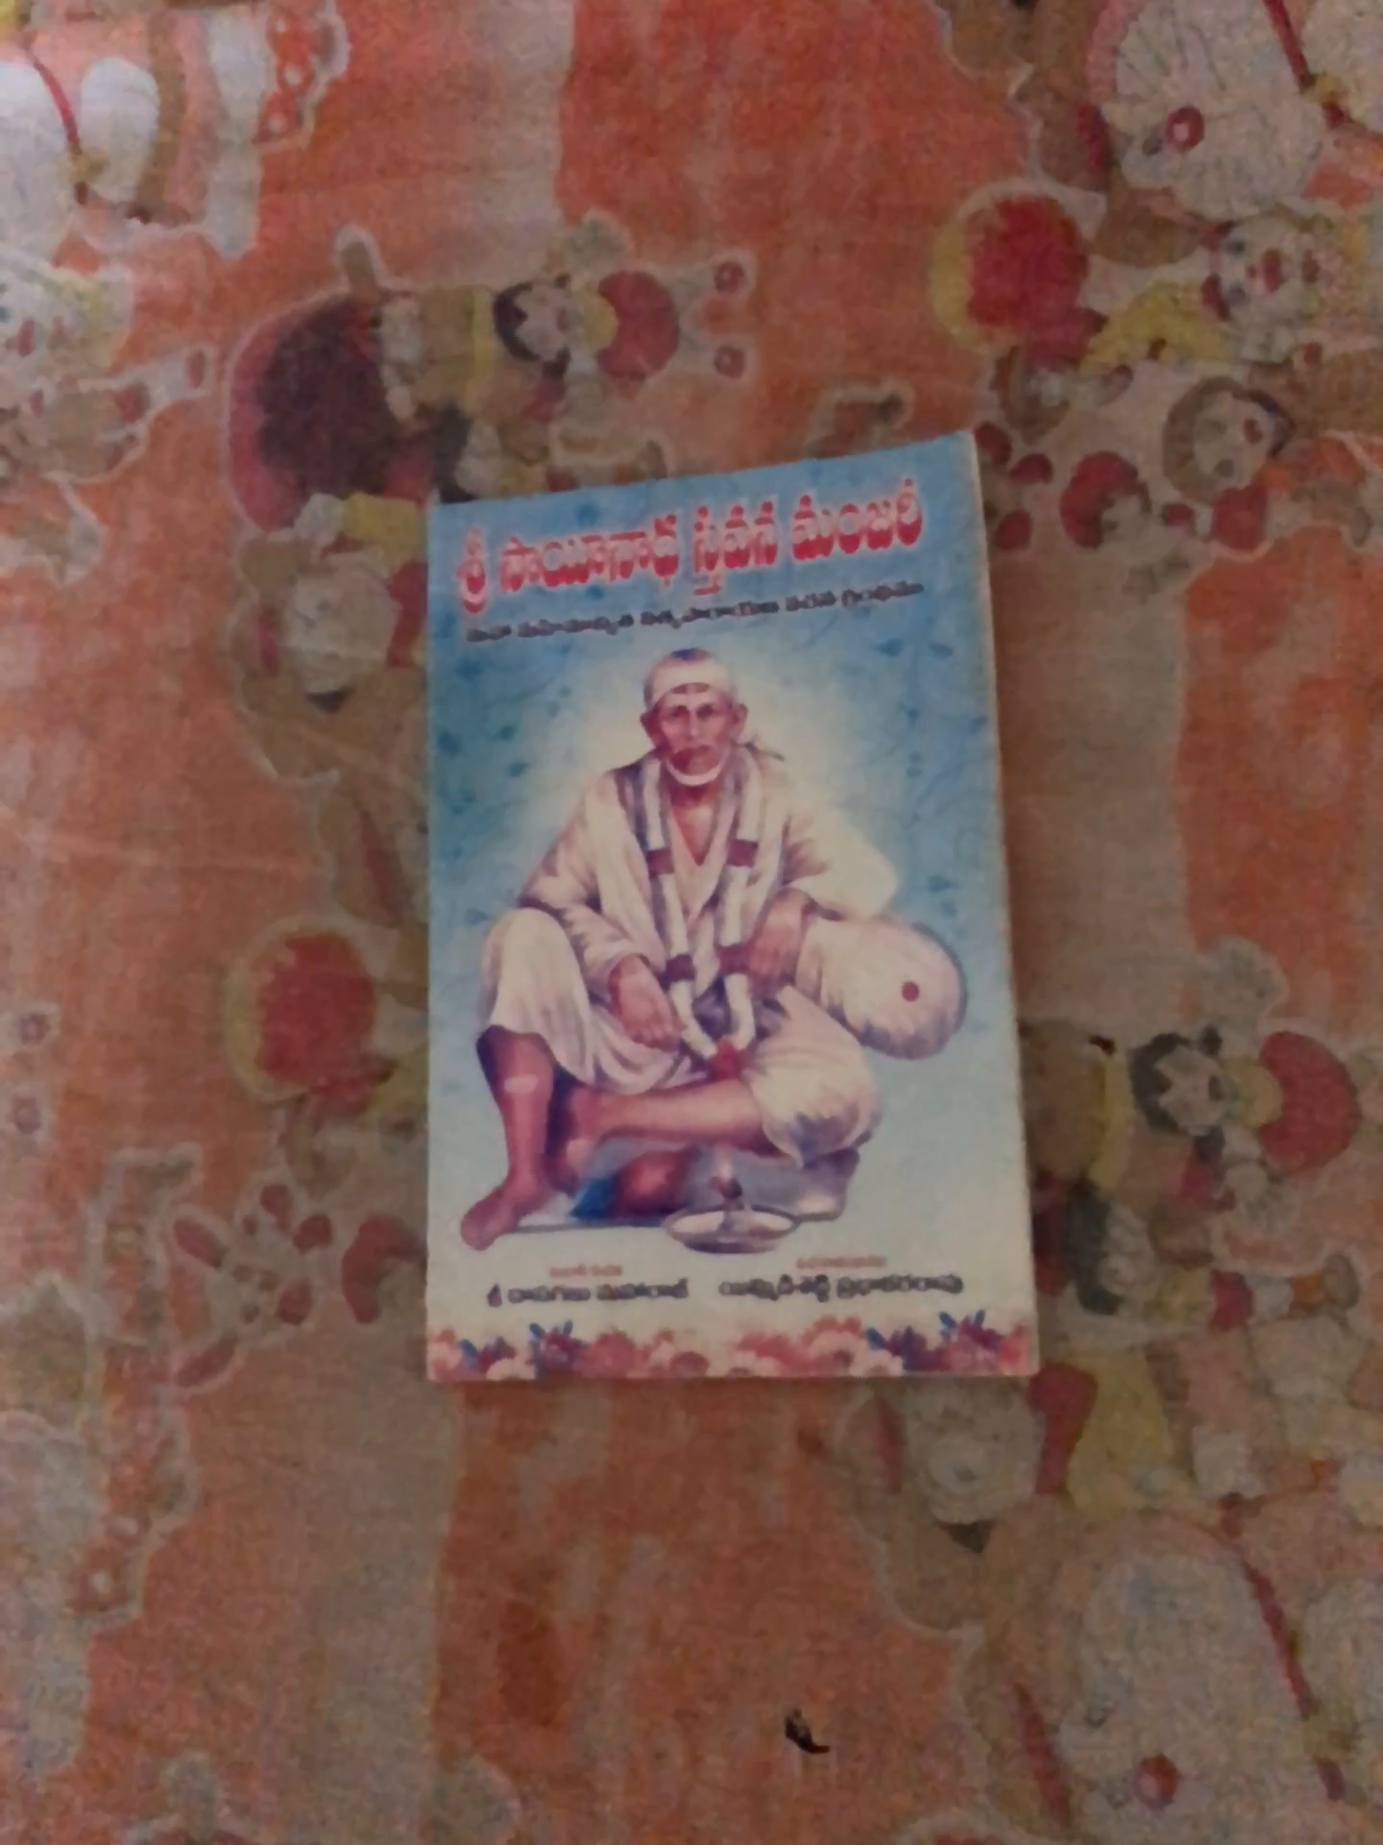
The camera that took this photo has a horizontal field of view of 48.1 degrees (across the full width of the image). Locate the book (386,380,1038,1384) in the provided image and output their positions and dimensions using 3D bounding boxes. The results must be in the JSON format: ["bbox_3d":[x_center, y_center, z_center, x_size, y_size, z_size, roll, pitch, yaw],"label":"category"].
[{"bbox_3d":[0.001,-0.009,0.356,0.140,0.020,0.220,-3,82,9],"label":"book"}]
